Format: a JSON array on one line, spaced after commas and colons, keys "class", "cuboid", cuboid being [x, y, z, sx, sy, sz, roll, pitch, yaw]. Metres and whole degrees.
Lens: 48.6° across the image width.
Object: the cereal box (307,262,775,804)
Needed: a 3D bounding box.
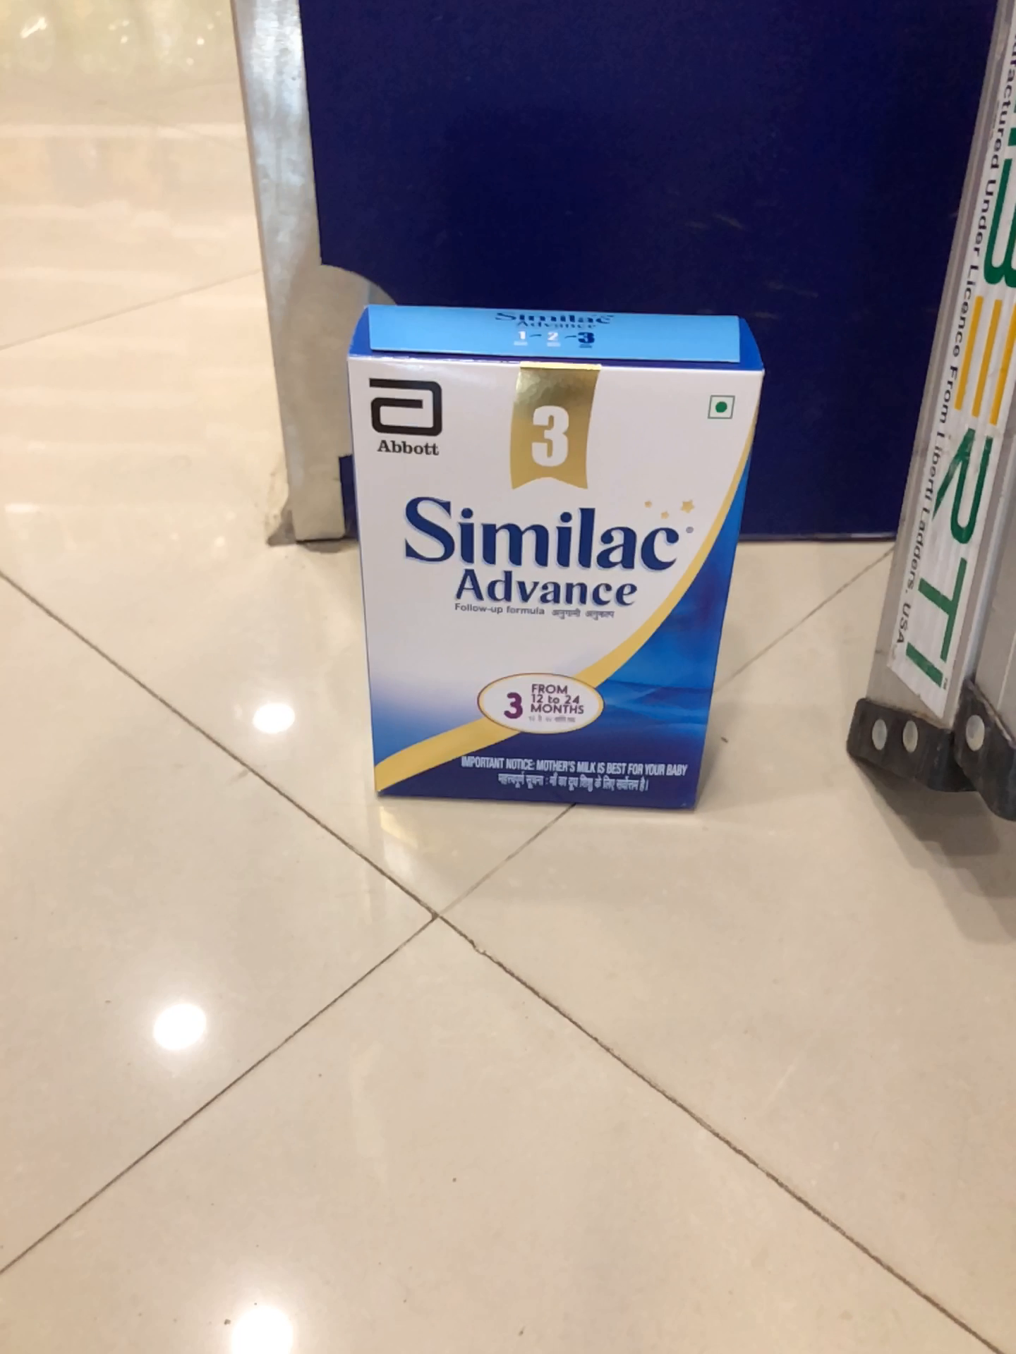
[{"class": "cereal box", "cuboid": [0.009, -0.043, 0.419, 0.140, 0.199, 0.050, 2, 39, 1]}]
